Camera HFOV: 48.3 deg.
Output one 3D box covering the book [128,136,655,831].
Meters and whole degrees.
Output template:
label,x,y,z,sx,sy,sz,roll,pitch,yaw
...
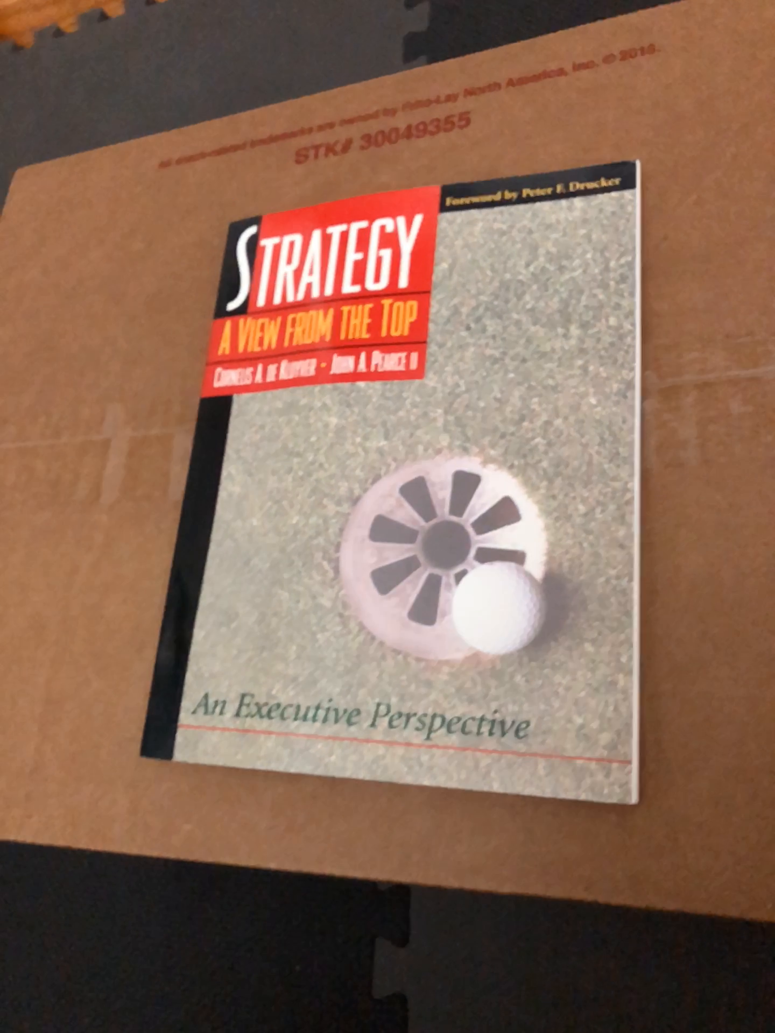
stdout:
label,x,y,z,sx,sy,sz,roll,pitch,yaw
book,0.005,-0.020,0.324,0.180,0.020,0.240,-1,72,22
